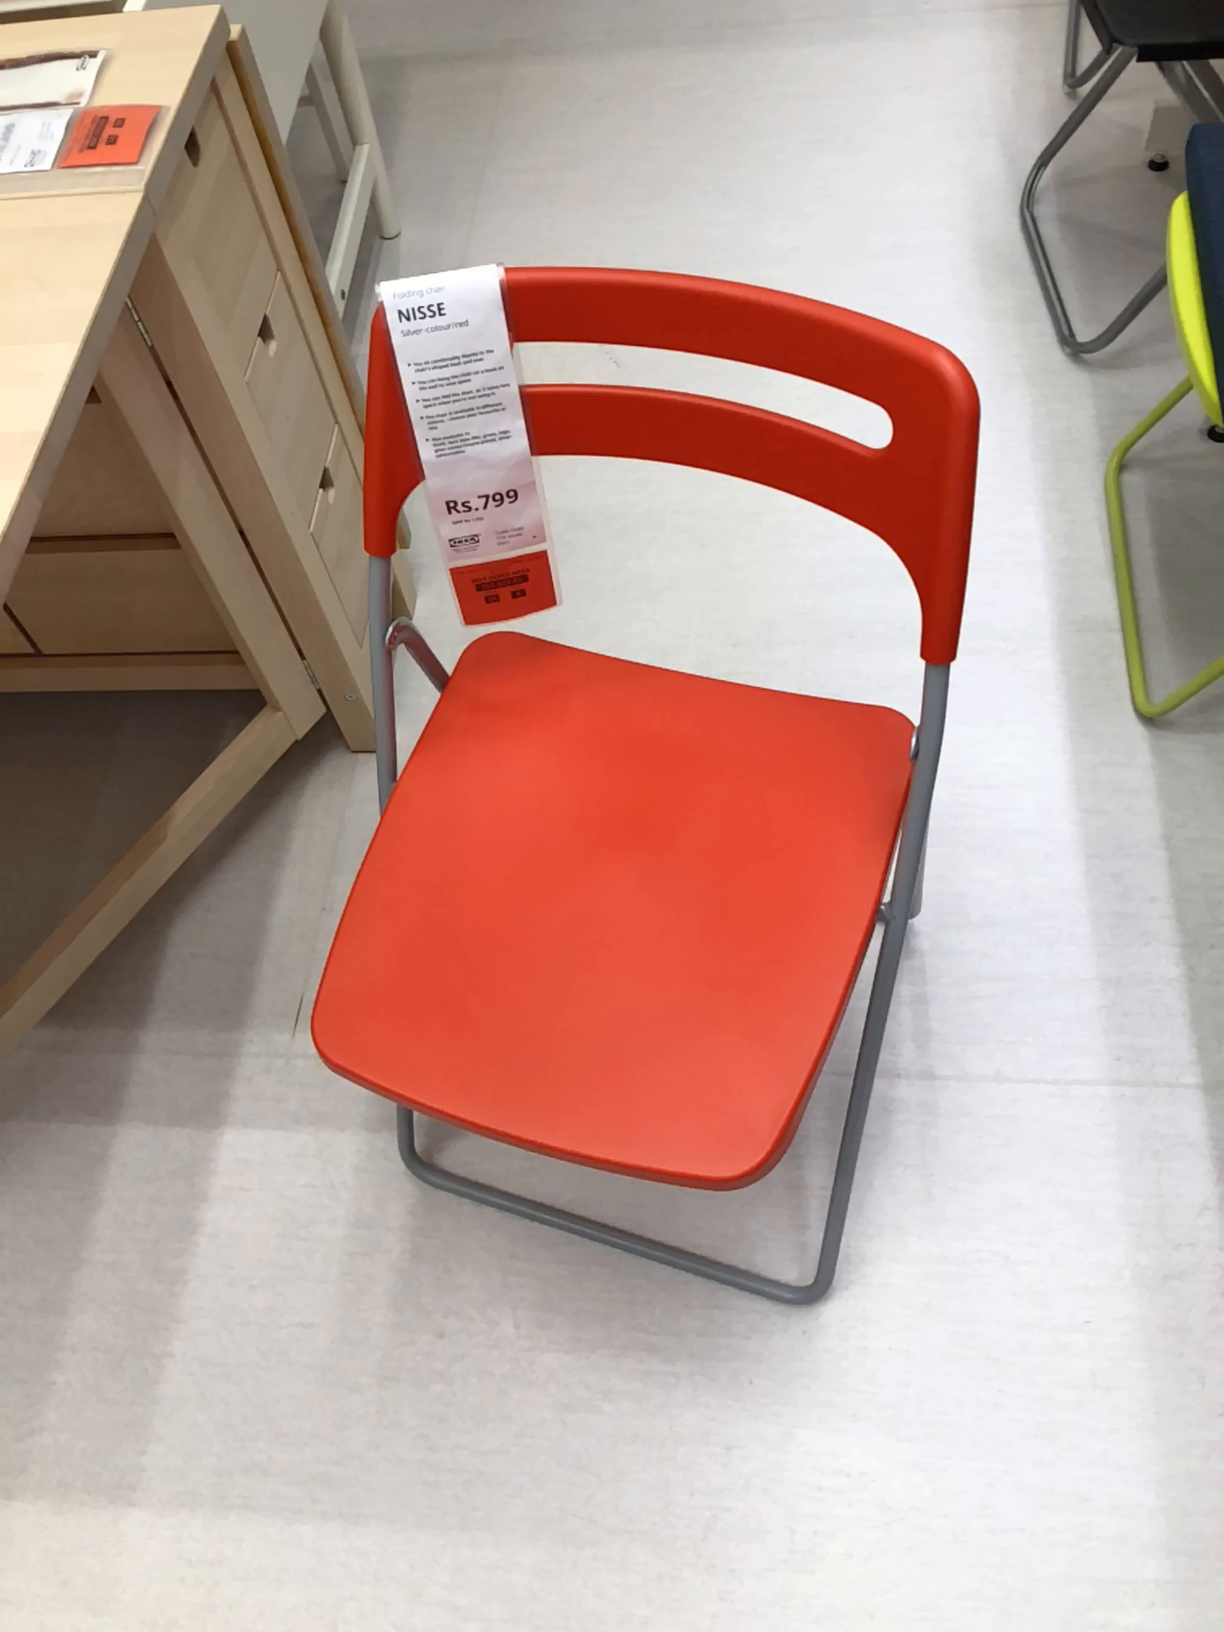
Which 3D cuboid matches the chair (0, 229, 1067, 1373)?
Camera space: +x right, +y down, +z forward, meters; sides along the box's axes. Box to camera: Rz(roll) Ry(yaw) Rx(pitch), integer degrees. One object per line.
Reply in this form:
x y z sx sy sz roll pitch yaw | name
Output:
0.005 0.023 0.965 0.450 0.607 0.492 13 60 15 | chair
